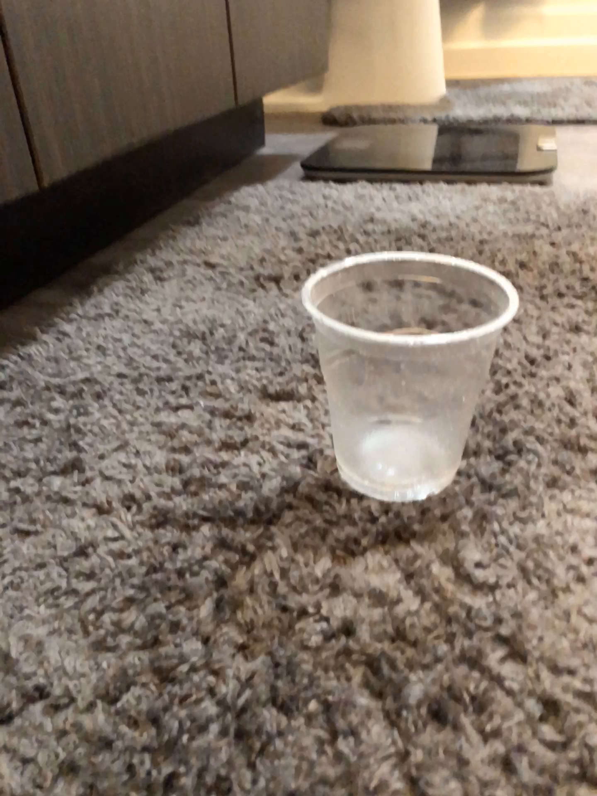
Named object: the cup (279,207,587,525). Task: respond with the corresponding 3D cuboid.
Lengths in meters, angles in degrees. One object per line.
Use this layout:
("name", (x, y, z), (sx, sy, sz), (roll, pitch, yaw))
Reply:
("cup", (0.057, -0.022, 0.286), (0.090, 0.090, 0.090), (-2, 30, 1))
